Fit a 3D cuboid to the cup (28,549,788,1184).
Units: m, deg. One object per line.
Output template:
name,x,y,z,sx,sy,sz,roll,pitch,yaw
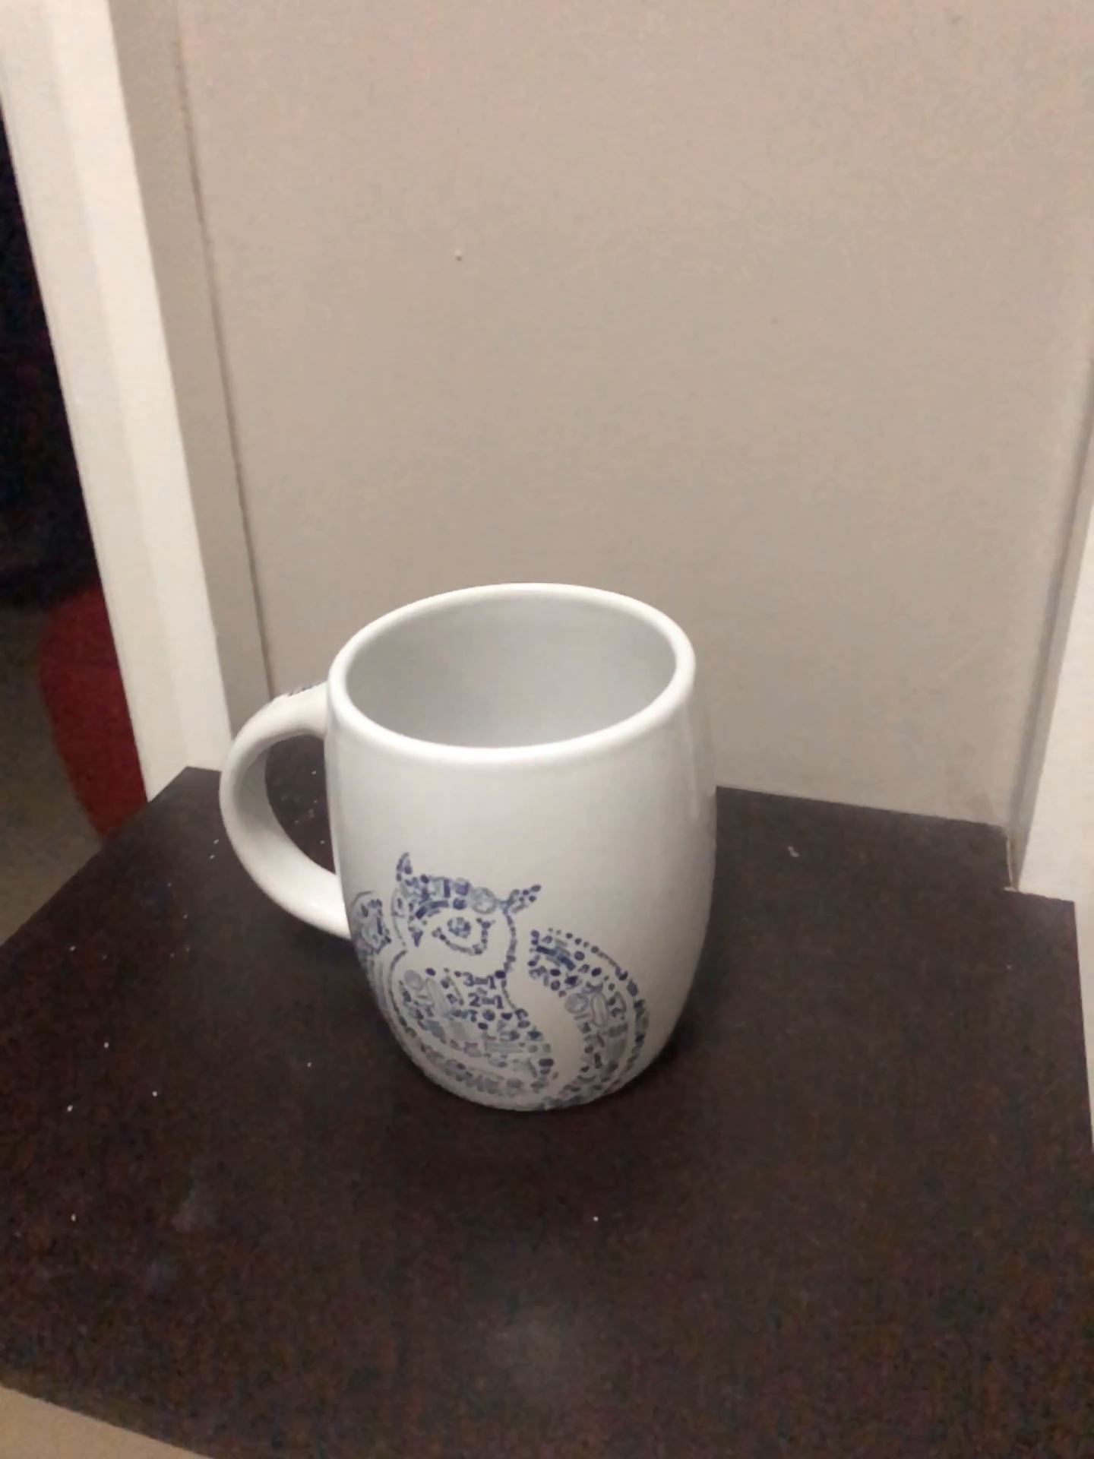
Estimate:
cup,-0.022,0.020,0.276,0.130,0.079,0.101,8,30,18
